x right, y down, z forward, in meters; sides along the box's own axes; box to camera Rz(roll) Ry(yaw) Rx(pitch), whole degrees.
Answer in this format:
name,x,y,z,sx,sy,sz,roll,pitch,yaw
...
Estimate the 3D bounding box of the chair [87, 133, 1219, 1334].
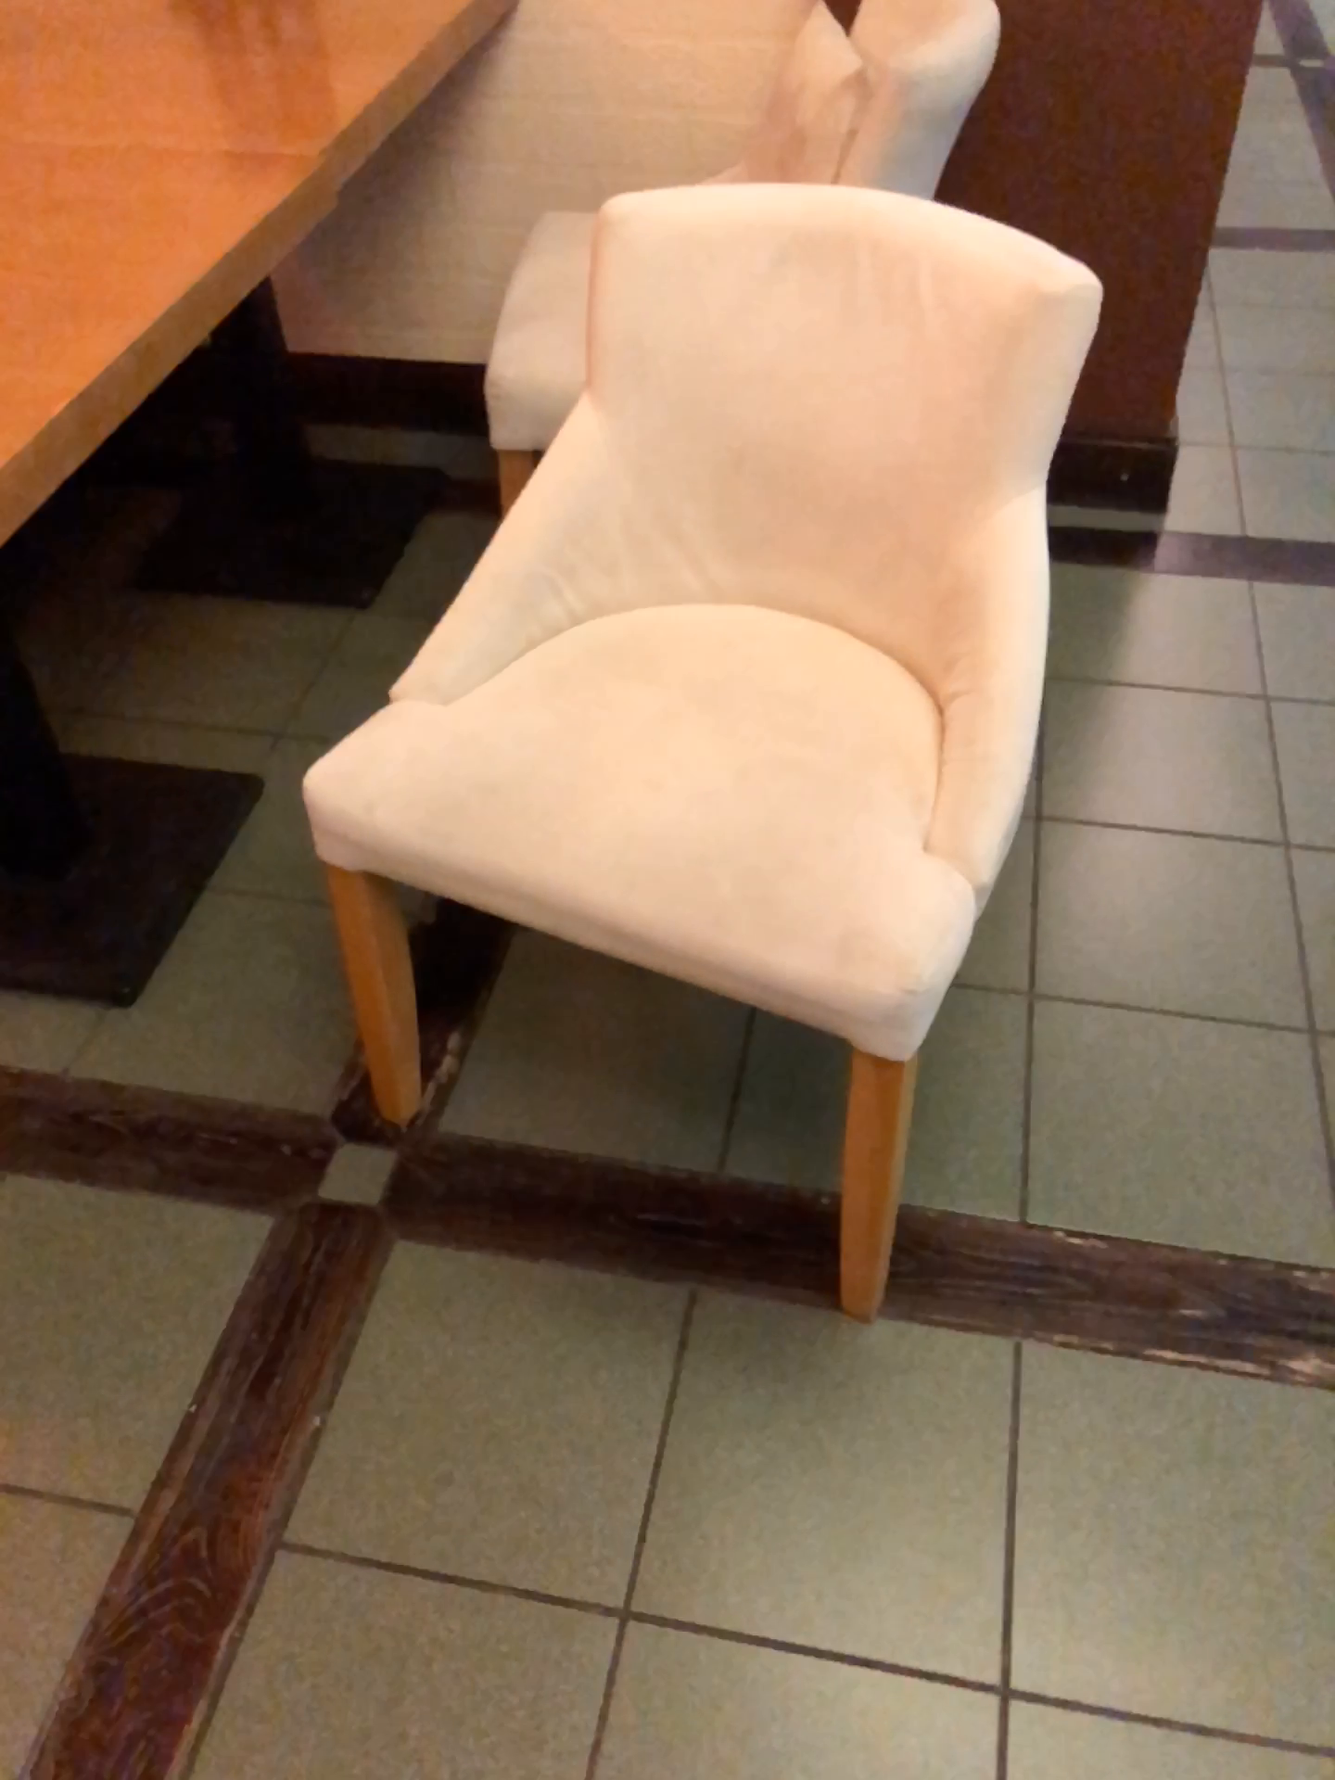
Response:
name,x,y,z,sx,sy,sz,roll,pitch,yaw
chair,0.044,-0.171,1.354,0.631,0.736,0.663,17,47,19
